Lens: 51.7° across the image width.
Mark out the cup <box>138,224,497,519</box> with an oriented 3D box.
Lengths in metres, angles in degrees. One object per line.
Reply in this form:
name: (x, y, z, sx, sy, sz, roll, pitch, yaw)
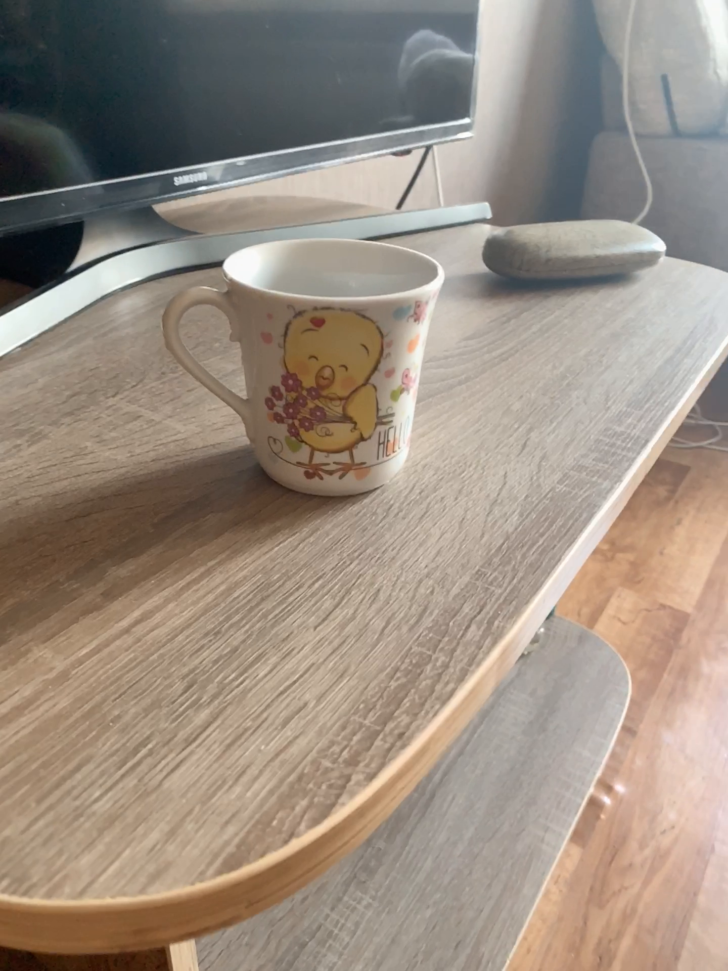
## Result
cup: (-0.020, -0.047, 0.280, 0.110, 0.080, 0.070, -8, 31, -16)
